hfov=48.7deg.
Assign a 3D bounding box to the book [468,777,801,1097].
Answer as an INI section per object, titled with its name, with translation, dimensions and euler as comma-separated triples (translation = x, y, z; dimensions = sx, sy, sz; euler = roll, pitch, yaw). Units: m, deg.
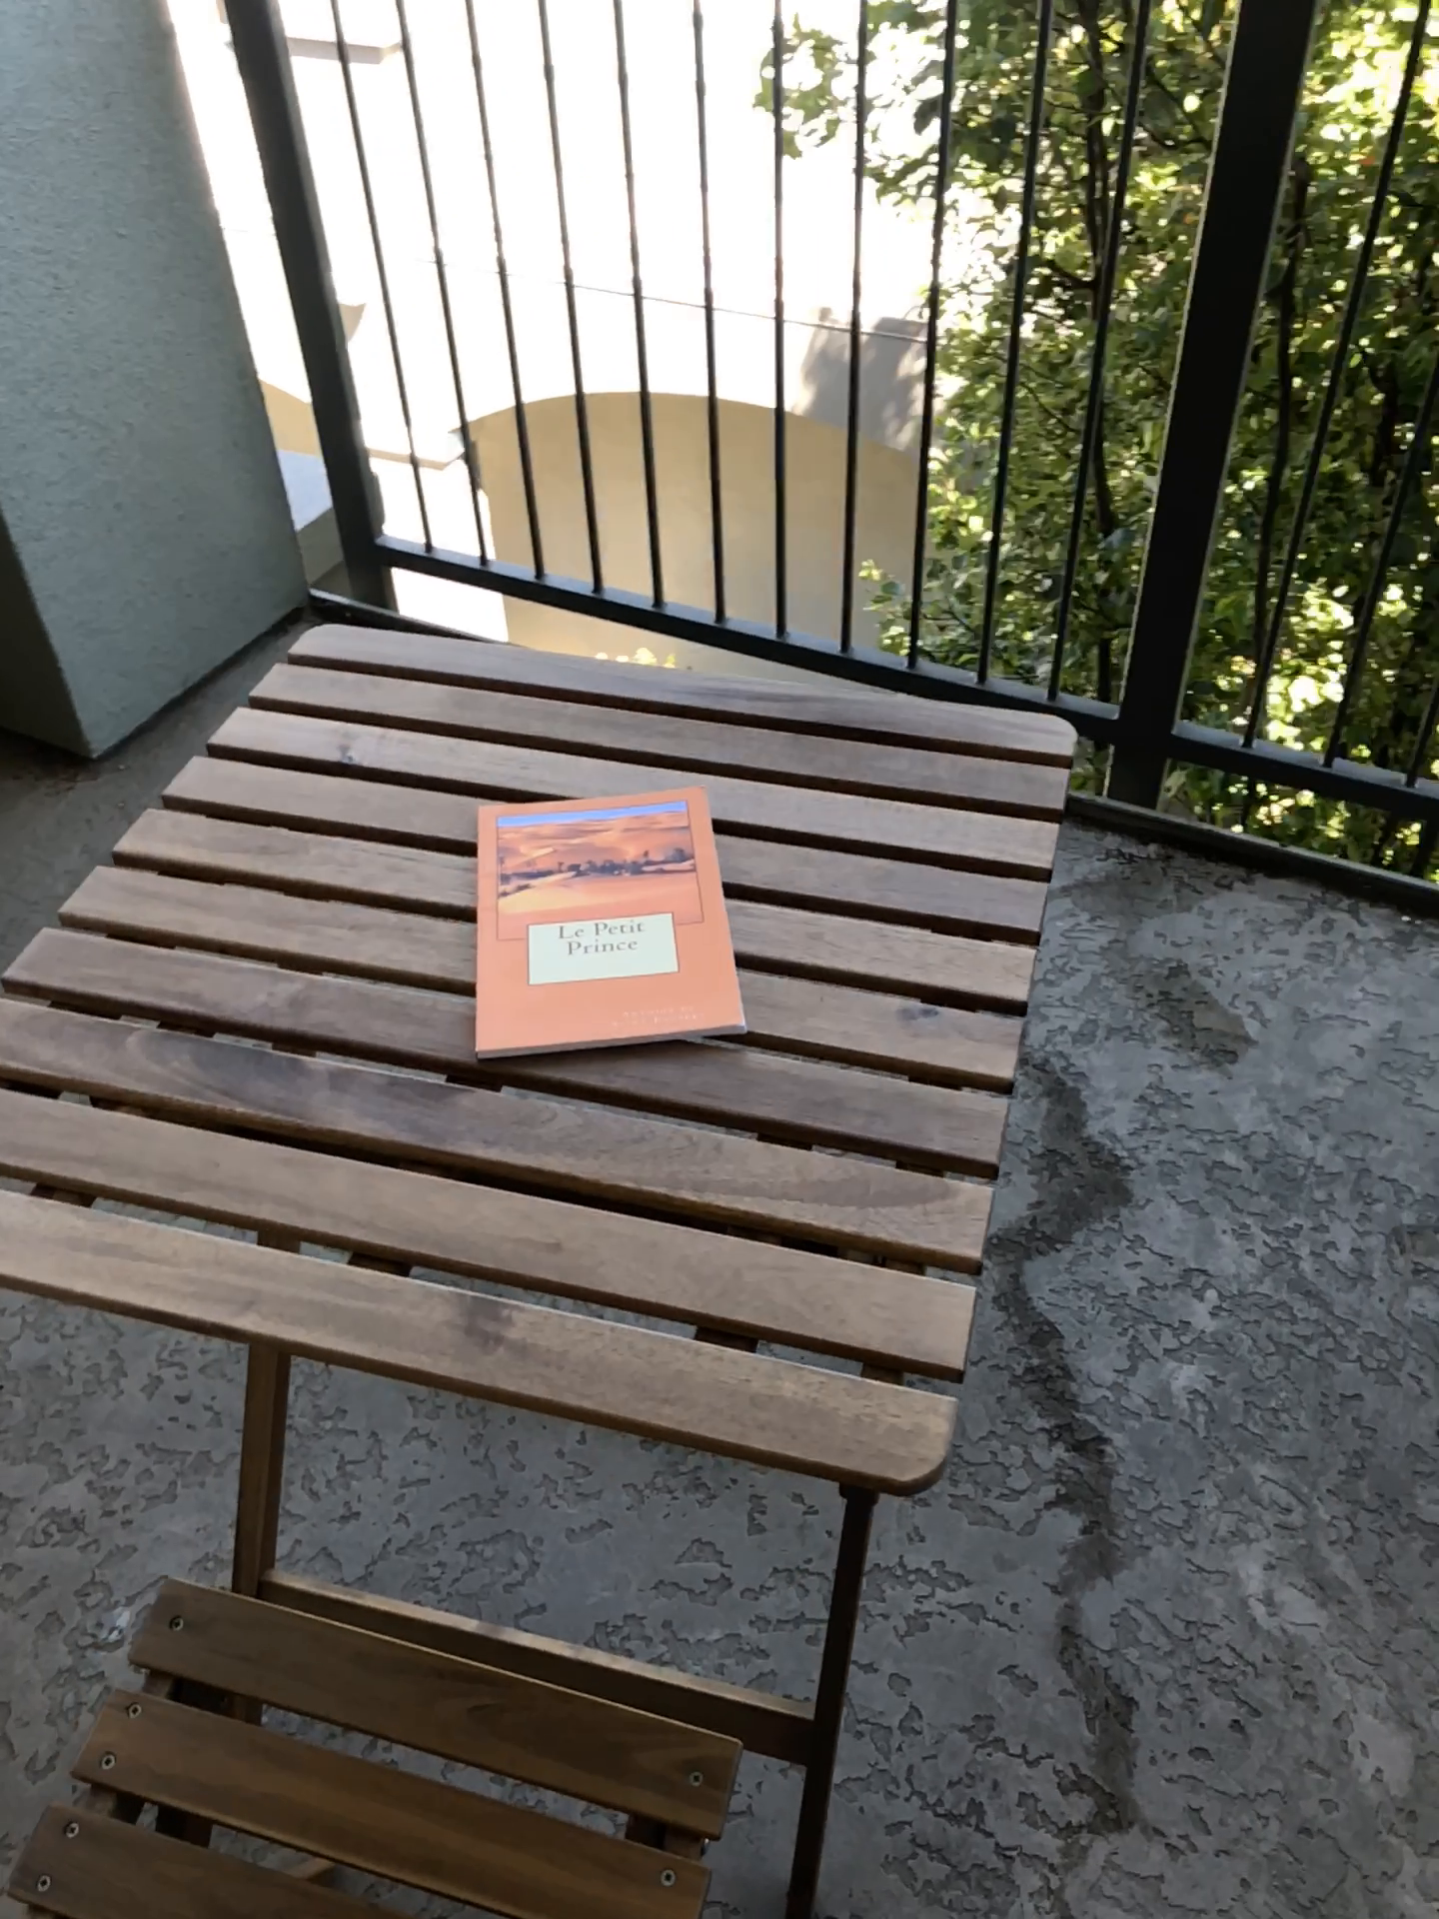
[book]
translation = -0.057, -0.023, 0.952
dimensions = 0.180, 0.010, 0.251
euler = -6, 43, -3
